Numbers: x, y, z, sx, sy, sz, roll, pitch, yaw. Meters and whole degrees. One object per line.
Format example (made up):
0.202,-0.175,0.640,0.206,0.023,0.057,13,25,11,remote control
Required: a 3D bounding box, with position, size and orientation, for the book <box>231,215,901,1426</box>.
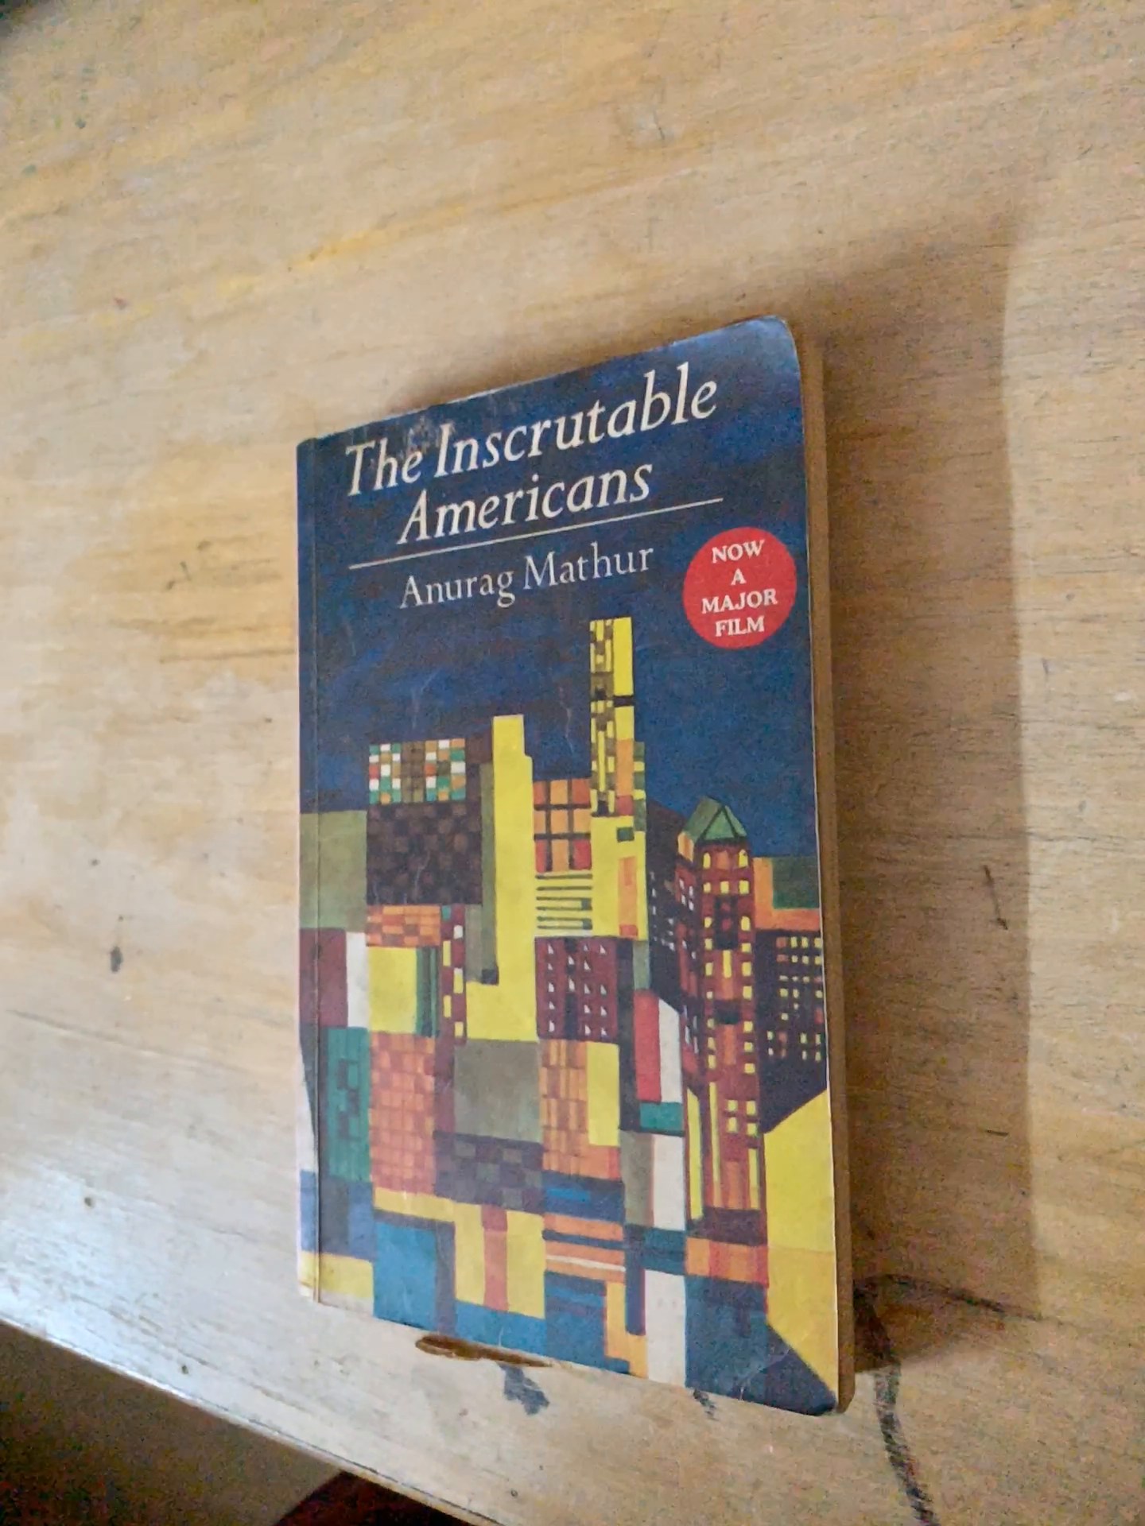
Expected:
-0.008,0.009,0.221,0.120,0.030,0.180,-4,85,30,book
